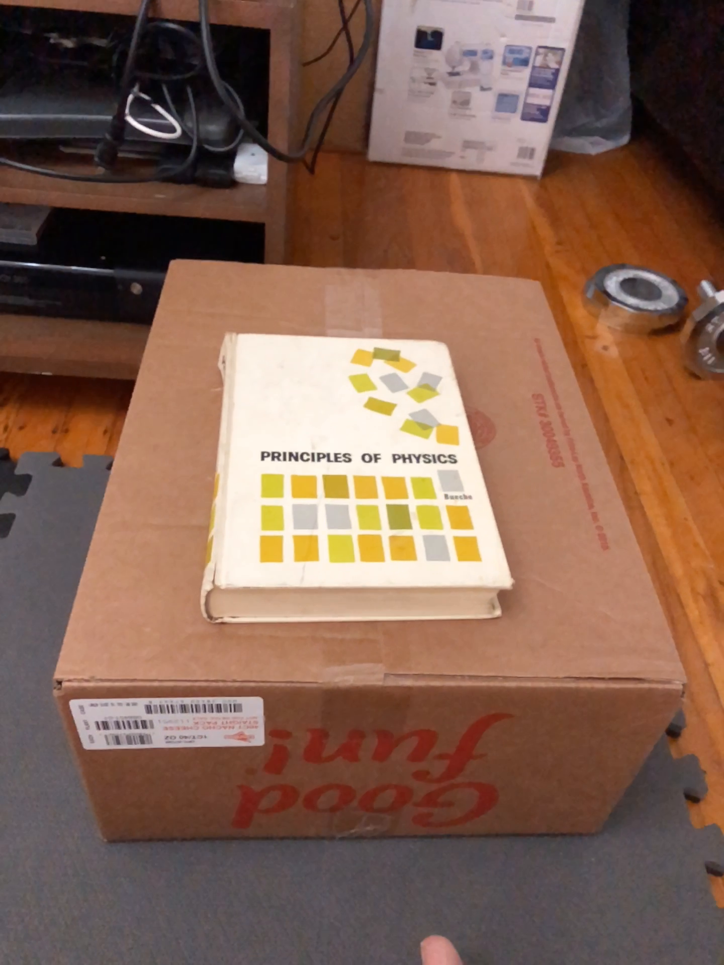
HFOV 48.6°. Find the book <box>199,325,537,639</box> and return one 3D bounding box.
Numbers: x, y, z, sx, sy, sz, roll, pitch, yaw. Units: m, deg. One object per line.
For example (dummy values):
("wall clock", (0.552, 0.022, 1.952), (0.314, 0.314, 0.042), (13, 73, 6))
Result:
("book", (-0.005, -0.014, 0.528), (0.180, 0.040, 0.251), (1, 44, -6))
